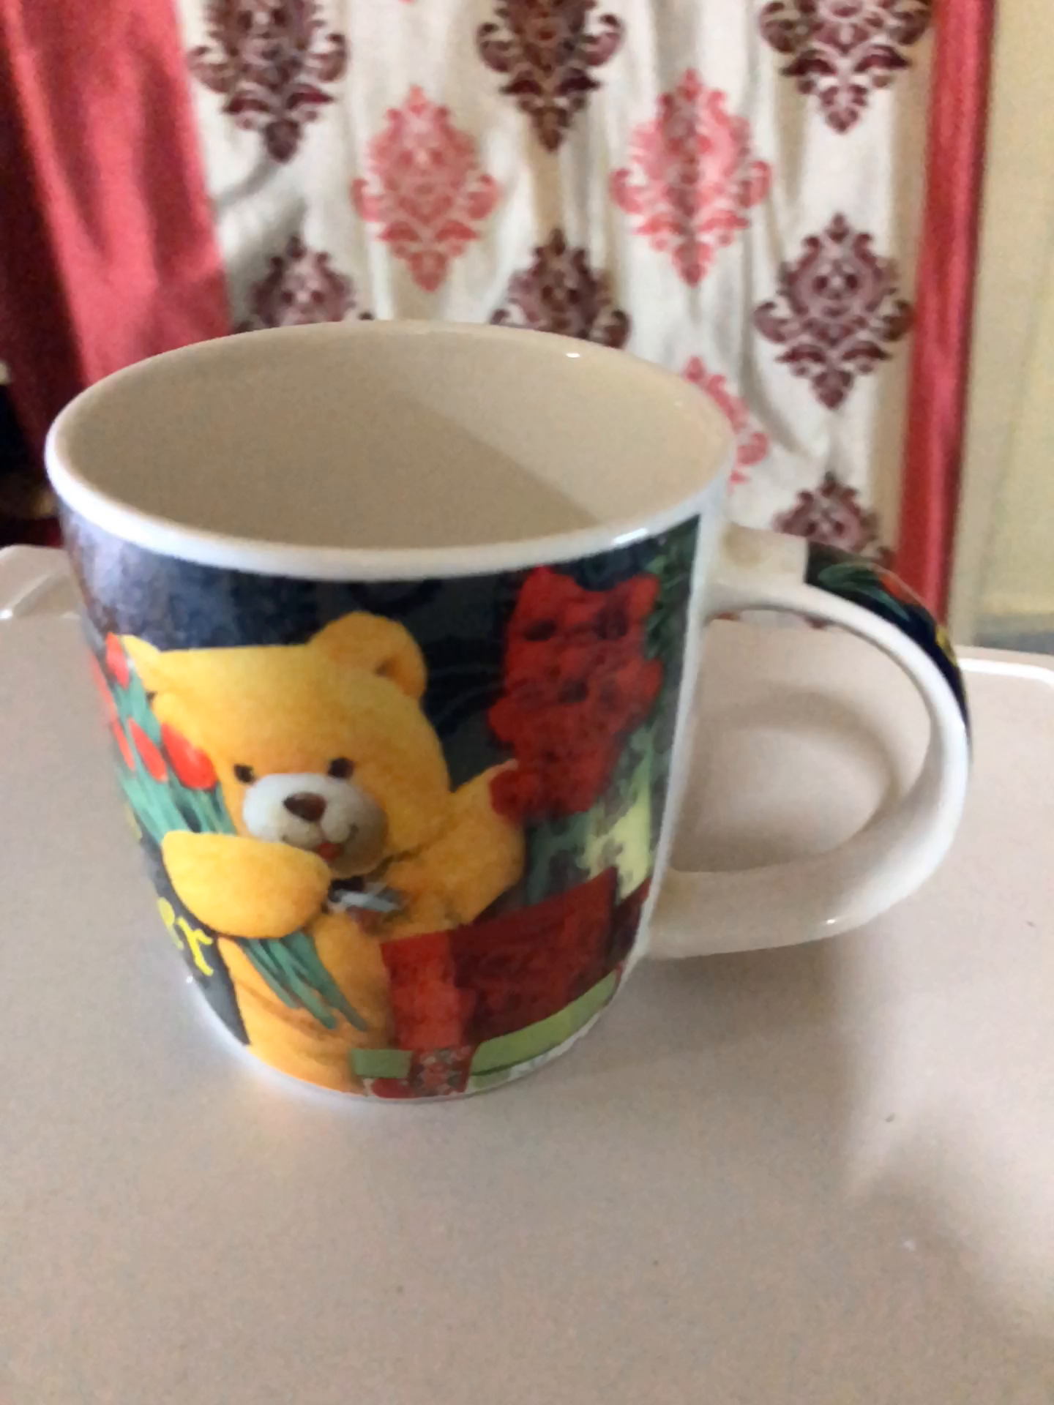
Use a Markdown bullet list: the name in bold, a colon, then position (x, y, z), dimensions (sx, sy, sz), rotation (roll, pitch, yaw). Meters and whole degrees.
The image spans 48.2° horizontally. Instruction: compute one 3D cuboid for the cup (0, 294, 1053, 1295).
- **cup**: position (0.000, 0.003, 0.172), dimensions (0.130, 0.099, 0.081), rotation (8, 30, 13)
